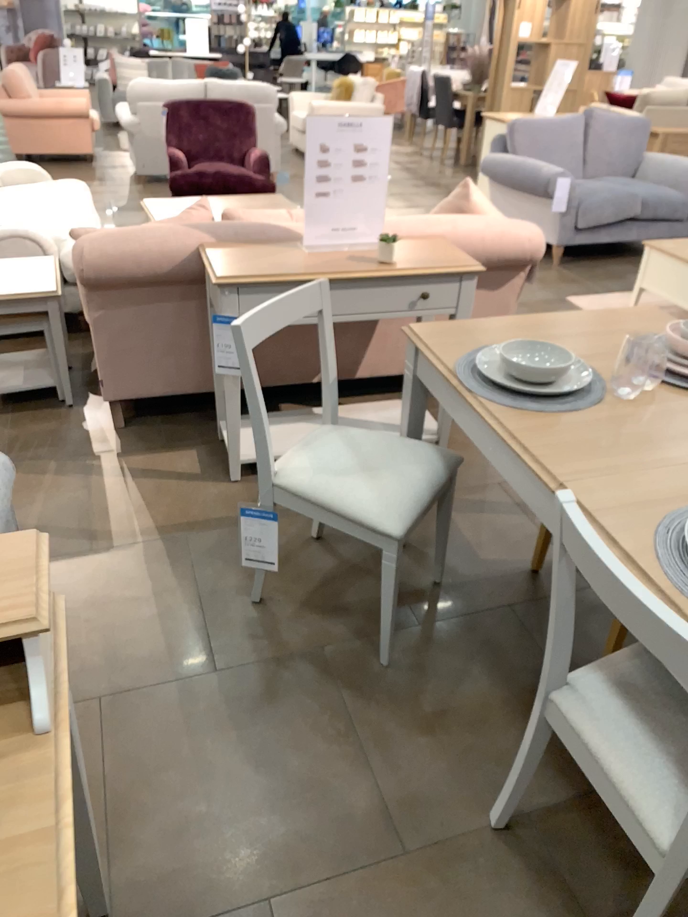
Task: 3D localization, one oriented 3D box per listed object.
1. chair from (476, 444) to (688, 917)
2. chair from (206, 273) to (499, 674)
[{"bbox_3d":[0.629,0.471,1.228,0.535,0.817,0.434,-8,33,-18],"label":"chair"},{"bbox_3d":[0.015,0.021,1.868,0.535,0.817,0.464,18,35,23],"label":"chair"}]
